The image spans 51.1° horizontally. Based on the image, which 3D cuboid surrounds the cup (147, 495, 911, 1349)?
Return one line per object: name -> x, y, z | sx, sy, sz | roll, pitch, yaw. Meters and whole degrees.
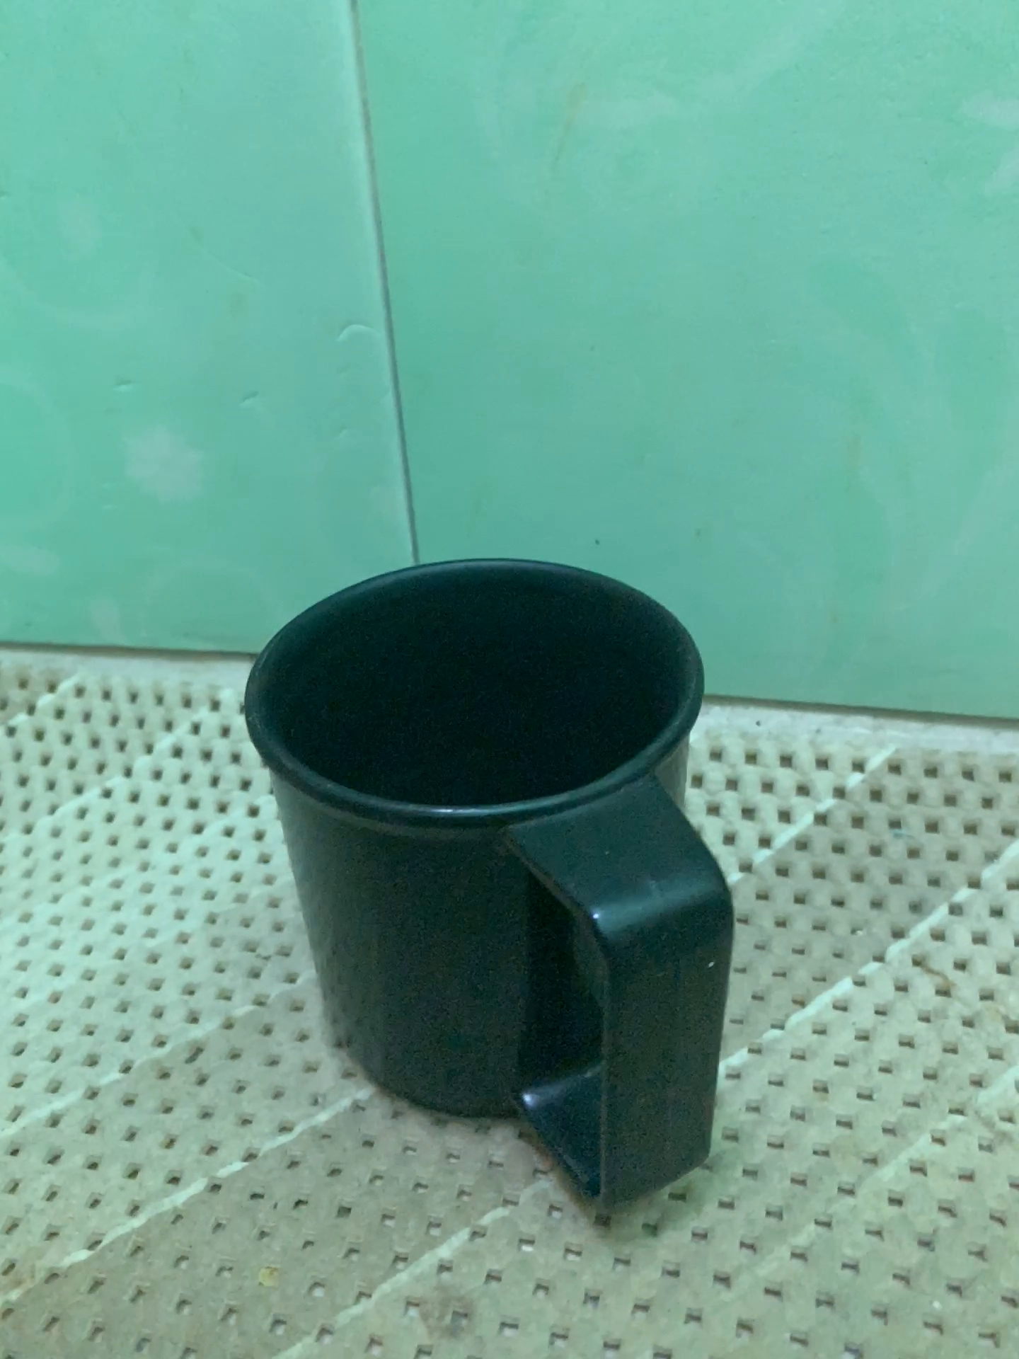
cup -> -0.004, 0.032, 0.204 | 0.090, 0.082, 0.112 | -18, 36, -20
